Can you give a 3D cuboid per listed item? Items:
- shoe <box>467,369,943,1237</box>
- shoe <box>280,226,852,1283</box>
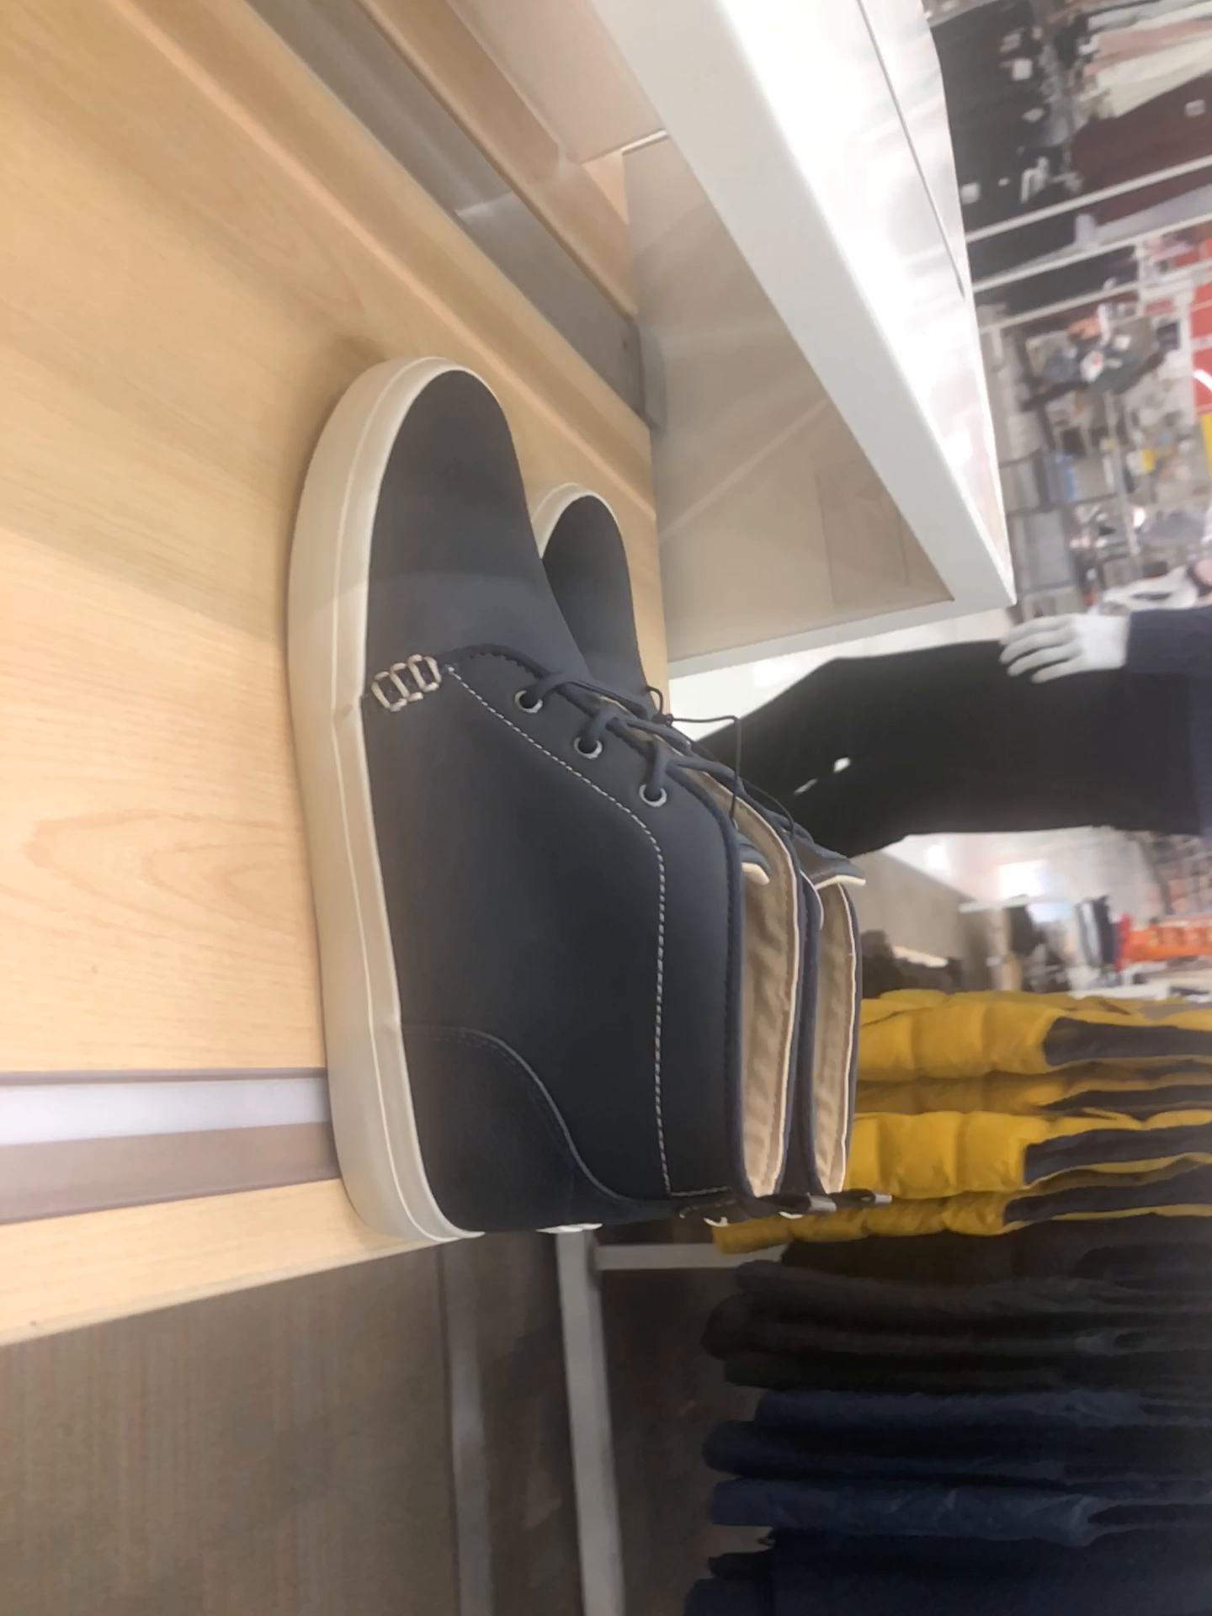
[{"bbox_3d":[0.033,0.007,0.473,0.107,0.124,0.267,27,58,-62],"label":"shoe"},{"bbox_3d":[-0.011,-0.007,0.391,0.109,0.114,0.258,18,66,-64],"label":"shoe"}]
